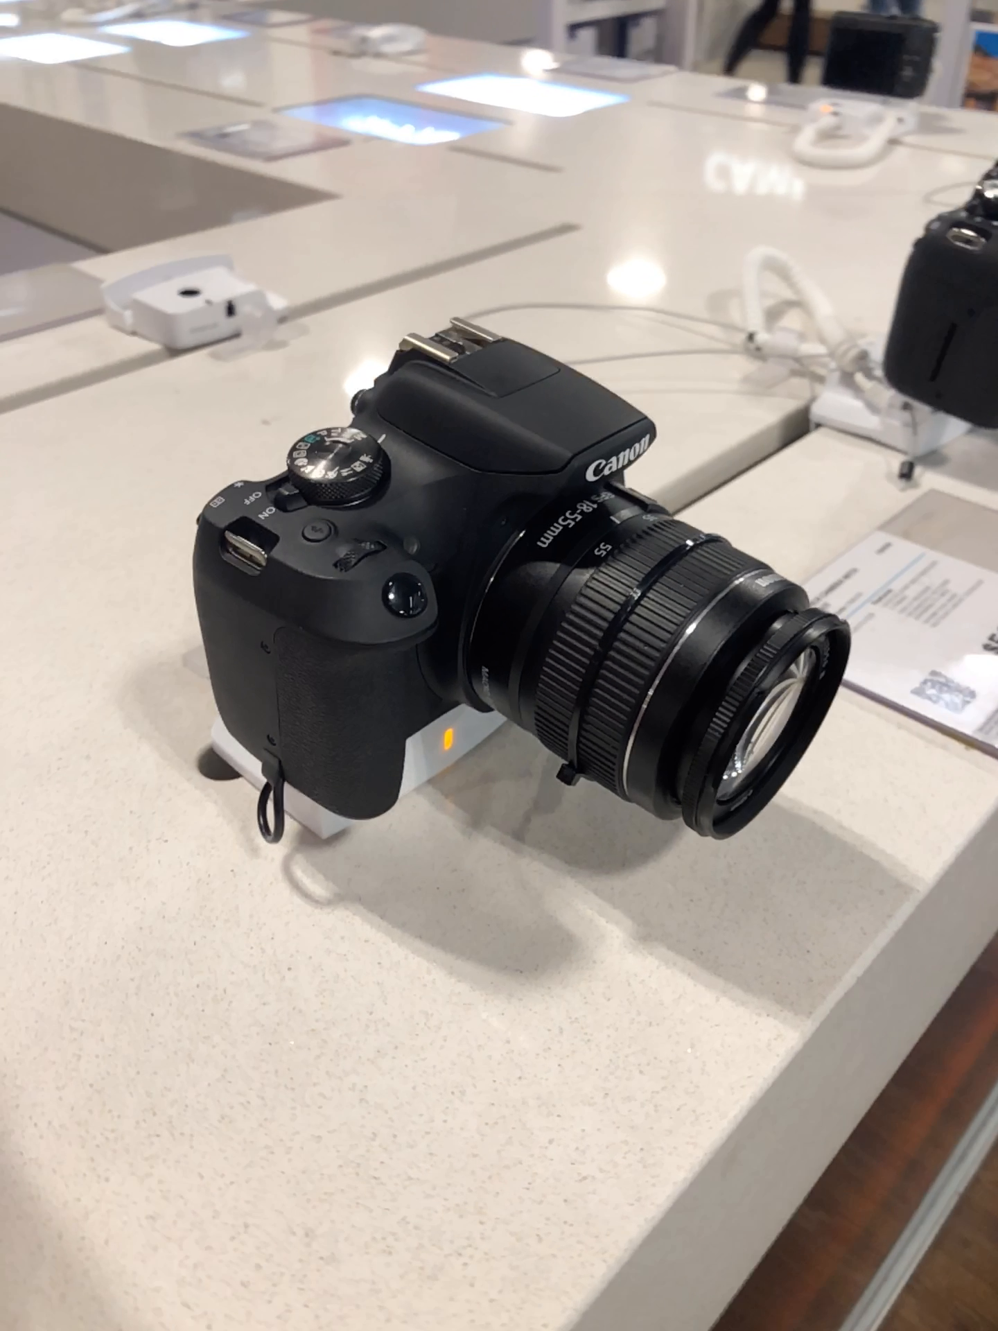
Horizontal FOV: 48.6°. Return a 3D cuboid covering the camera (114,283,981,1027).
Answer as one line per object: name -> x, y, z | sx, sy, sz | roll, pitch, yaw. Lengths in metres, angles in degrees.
camera -> 0.013, -0.021, 0.288 | 0.150, 0.089, 0.141 | 27, 44, 31
